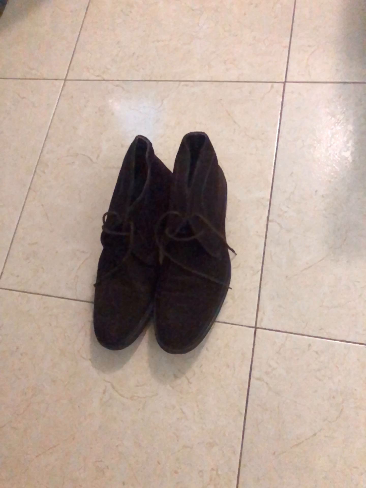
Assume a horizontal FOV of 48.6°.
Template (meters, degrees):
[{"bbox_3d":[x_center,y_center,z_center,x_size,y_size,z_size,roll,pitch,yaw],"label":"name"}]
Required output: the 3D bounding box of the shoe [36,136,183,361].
[{"bbox_3d":[-0.093,0.007,0.609,0.110,0.130,0.300,7,72,14],"label":"shoe"}]

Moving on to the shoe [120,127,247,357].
[{"bbox_3d":[0.016,-0.001,0.604,0.110,0.140,0.300,7,72,14],"label":"shoe"}]
